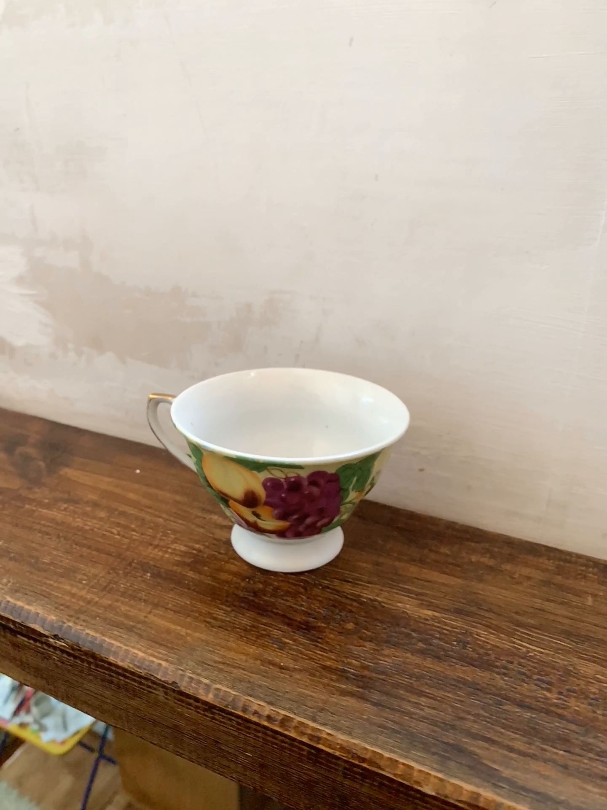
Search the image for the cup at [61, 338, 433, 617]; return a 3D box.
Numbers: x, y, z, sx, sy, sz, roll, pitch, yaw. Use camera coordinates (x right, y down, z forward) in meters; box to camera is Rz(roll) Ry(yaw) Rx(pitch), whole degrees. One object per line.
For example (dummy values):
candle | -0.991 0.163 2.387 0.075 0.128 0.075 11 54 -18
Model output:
cup | -0.018 0.020 0.269 0.123 0.058 0.092 10 24 20
